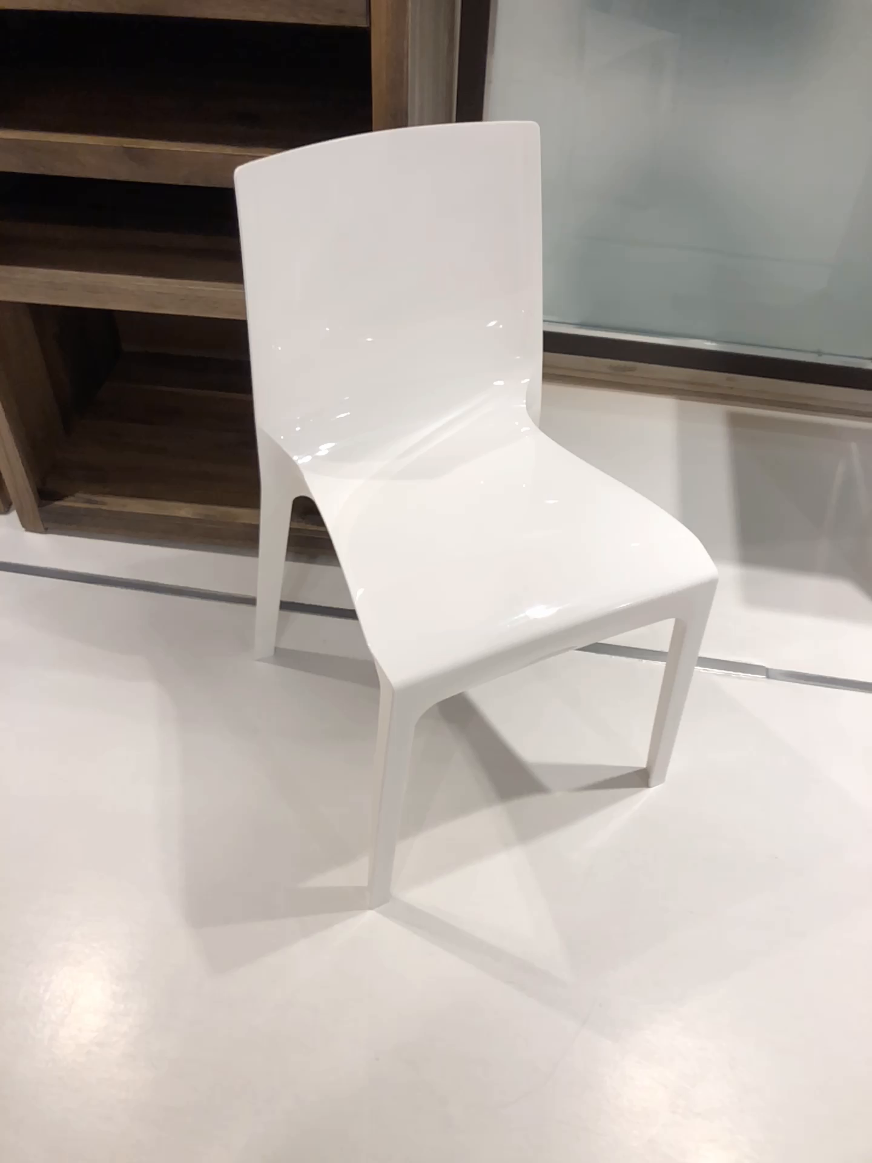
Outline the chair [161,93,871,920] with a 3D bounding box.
[{"bbox_3d":[0.033,-0.082,1.176,0.481,0.755,0.523,-18,49,-20],"label":"chair"}]
